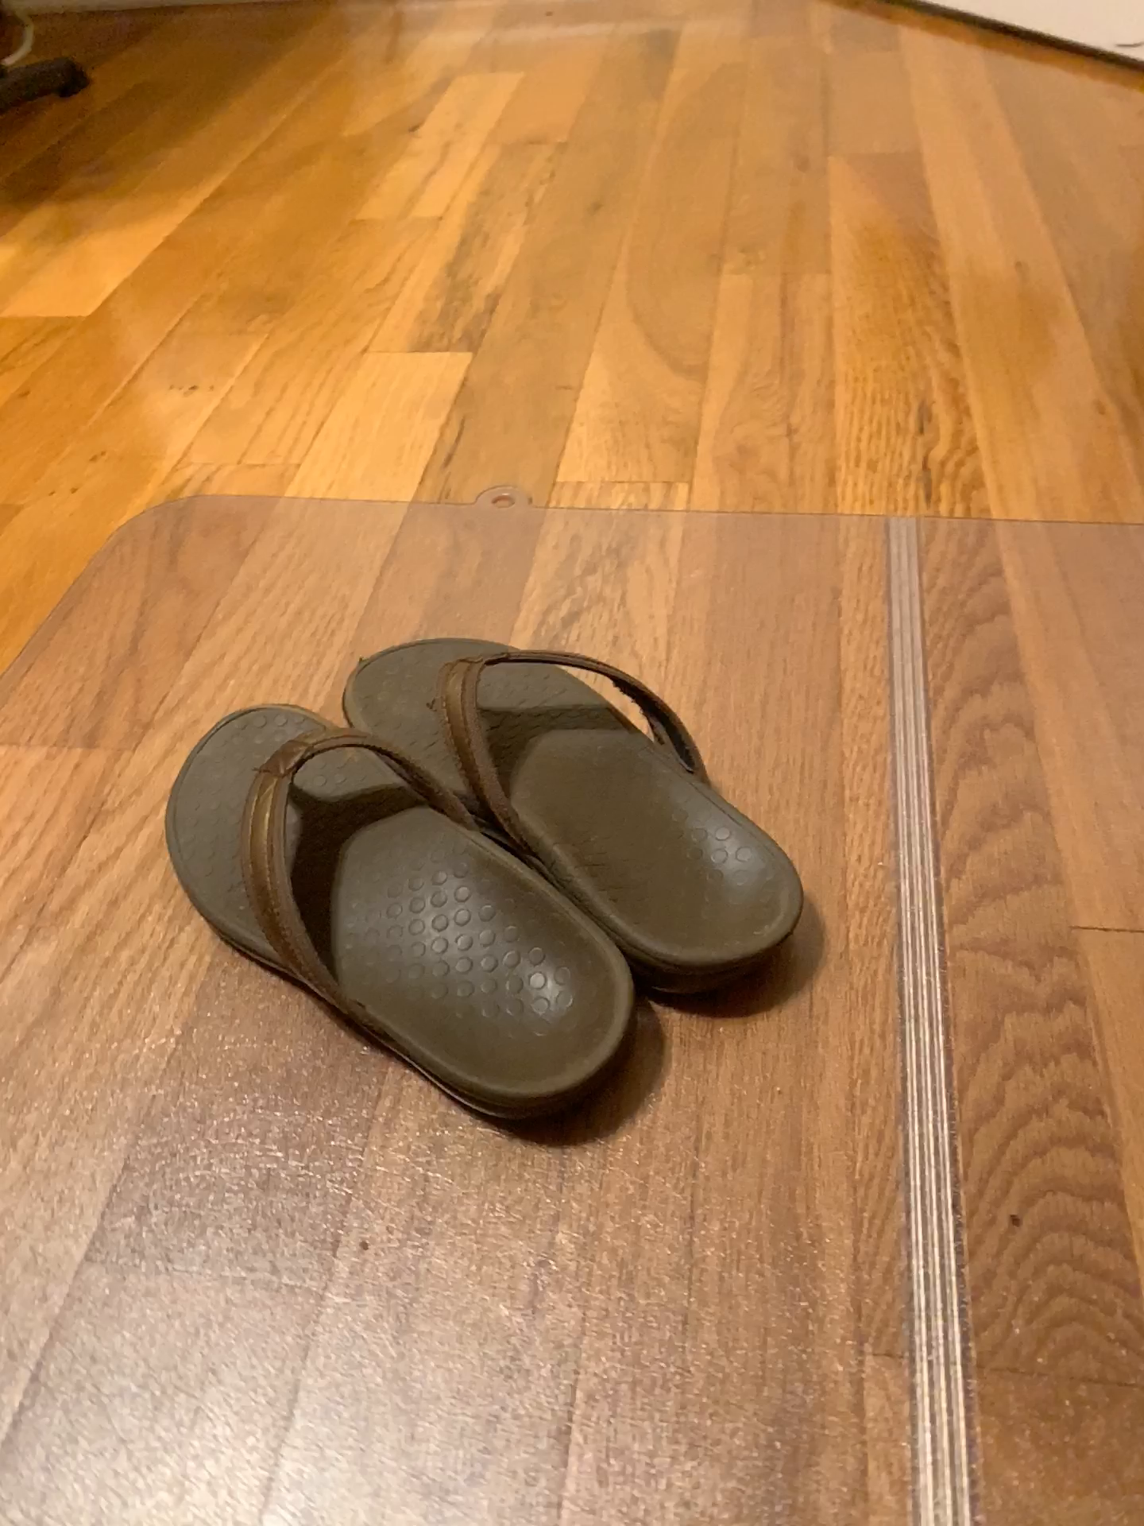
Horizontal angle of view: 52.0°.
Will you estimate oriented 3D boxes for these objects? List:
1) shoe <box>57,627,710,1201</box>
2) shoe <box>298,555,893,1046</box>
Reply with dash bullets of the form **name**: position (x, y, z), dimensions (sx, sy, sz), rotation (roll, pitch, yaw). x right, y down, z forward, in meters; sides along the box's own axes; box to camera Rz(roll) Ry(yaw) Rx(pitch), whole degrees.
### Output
- **shoe**: position (-0.077, 0.041, 0.449), dimensions (0.247, 0.061, 0.100), rotation (29, 54, 31)
- **shoe**: position (-0.001, 0.000, 0.490), dimensions (0.092, 0.049, 0.251), rotation (-36, 51, -27)
